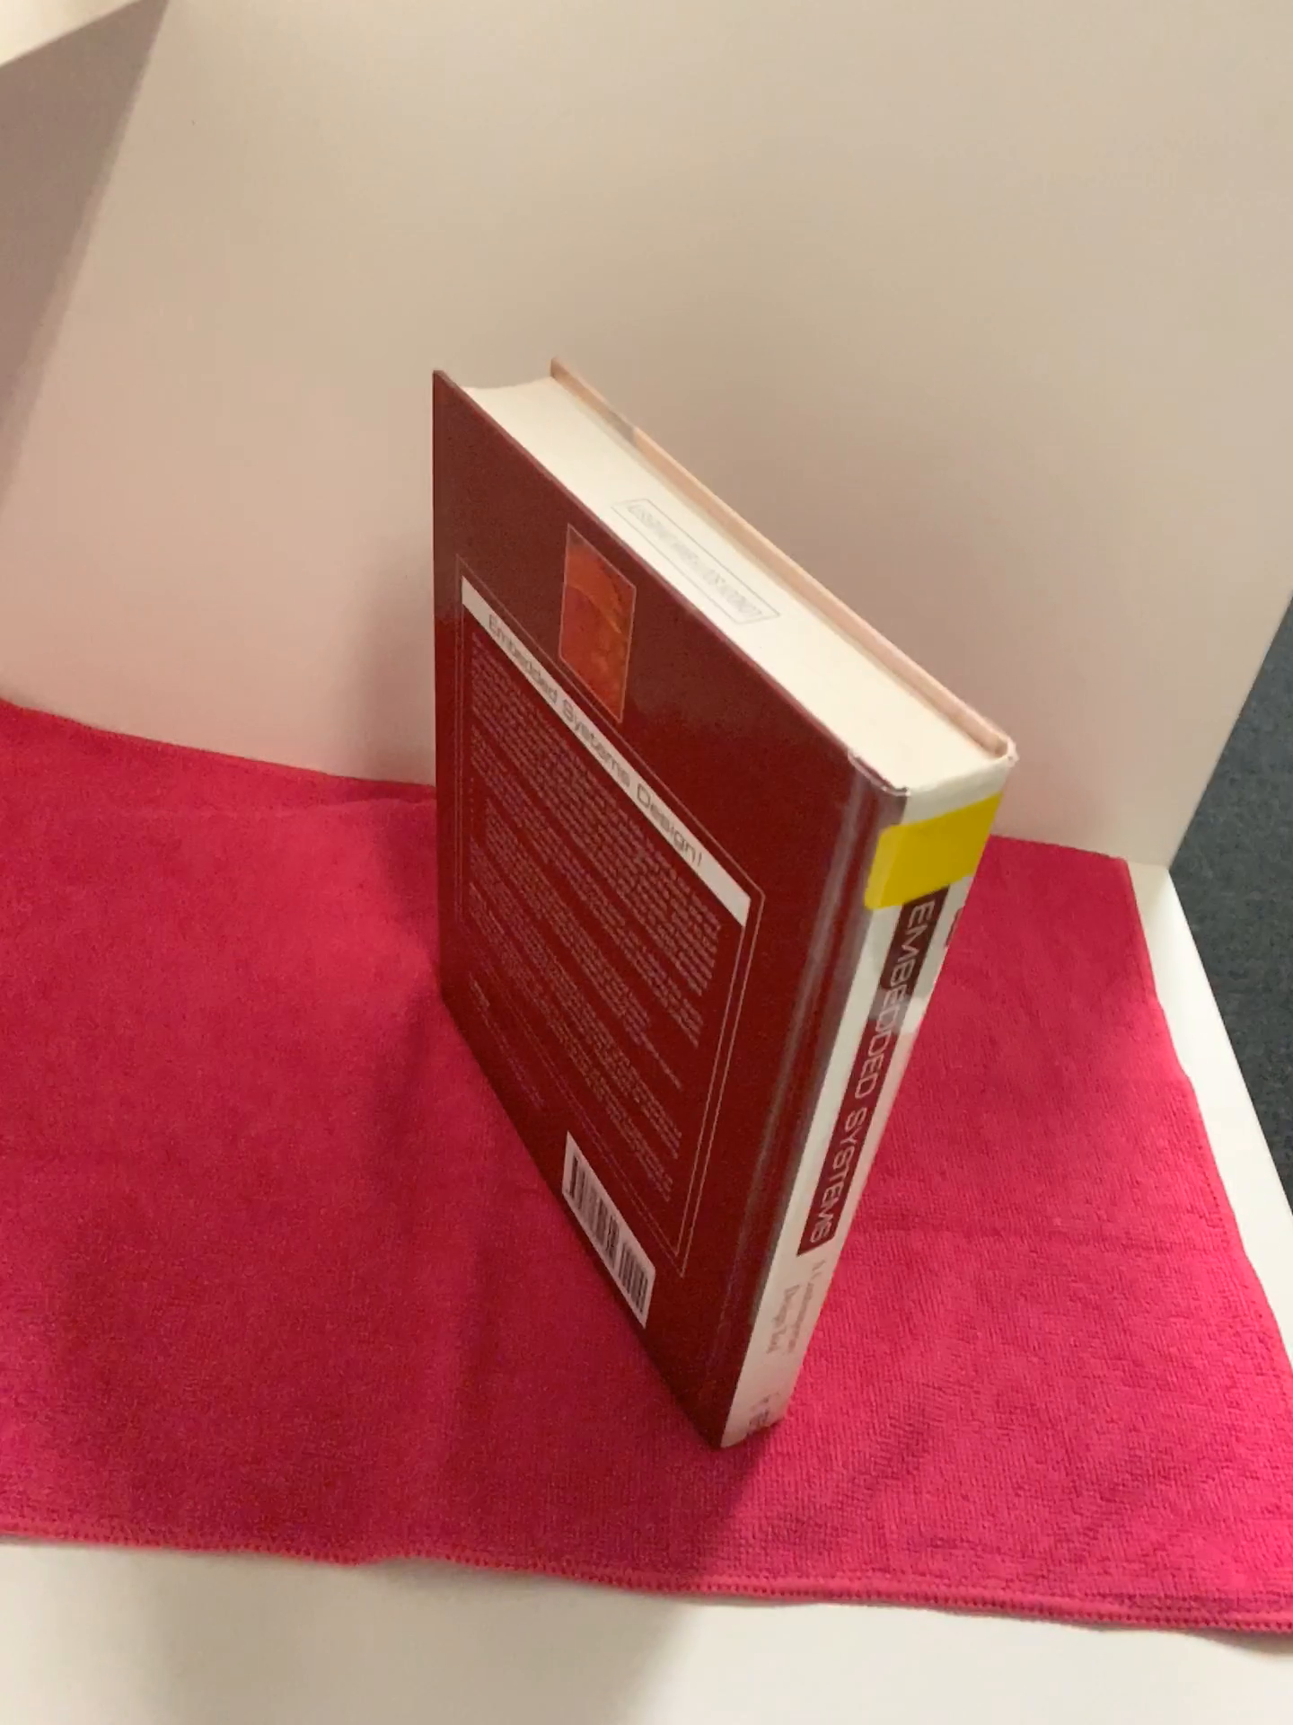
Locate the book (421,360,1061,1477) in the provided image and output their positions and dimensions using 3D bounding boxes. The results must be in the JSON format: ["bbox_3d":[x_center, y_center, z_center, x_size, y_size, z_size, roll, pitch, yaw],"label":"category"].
[{"bbox_3d":[-0.004,0.019,0.397,0.044,0.257,0.213,-17,46,-26],"label":"book"}]
